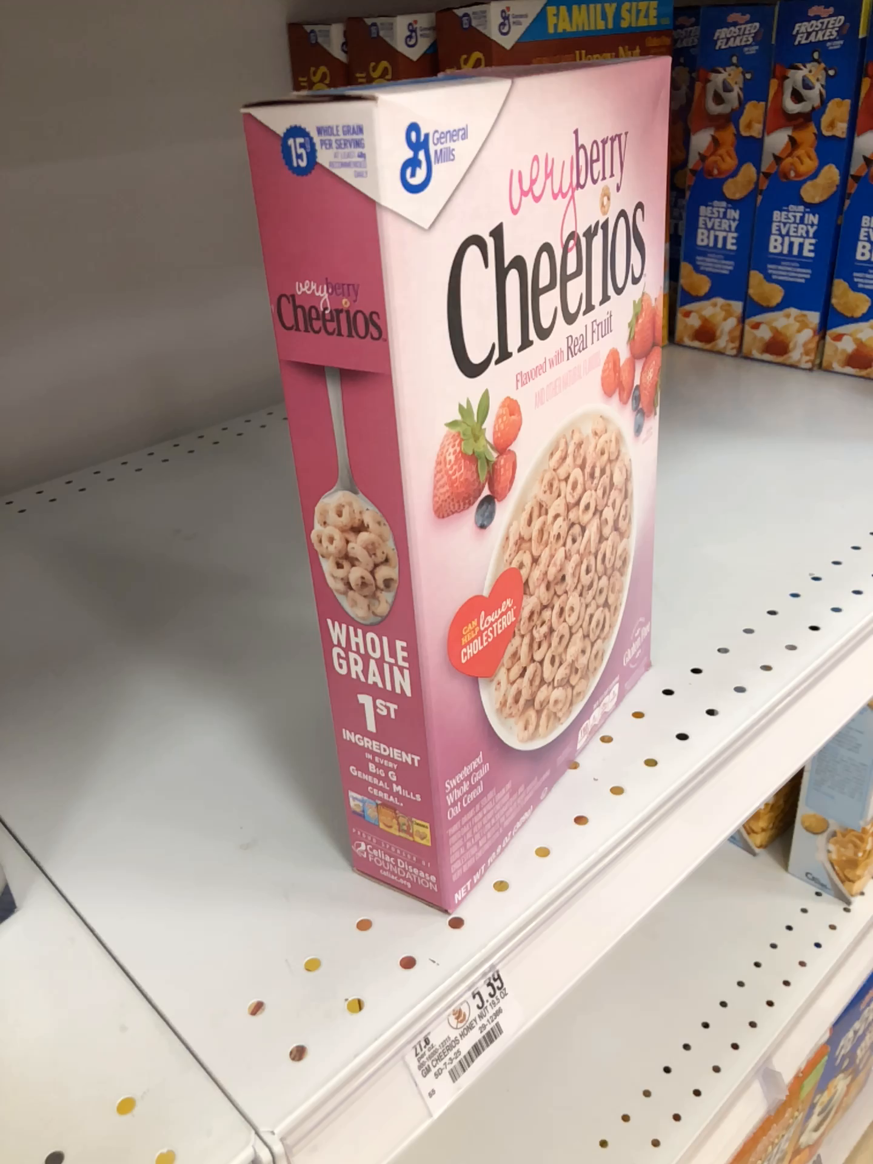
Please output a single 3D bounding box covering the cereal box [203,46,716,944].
[{"bbox_3d":[0.028,-0.040,0.370,0.060,0.279,0.200,17,35,30],"label":"cereal box"}]
